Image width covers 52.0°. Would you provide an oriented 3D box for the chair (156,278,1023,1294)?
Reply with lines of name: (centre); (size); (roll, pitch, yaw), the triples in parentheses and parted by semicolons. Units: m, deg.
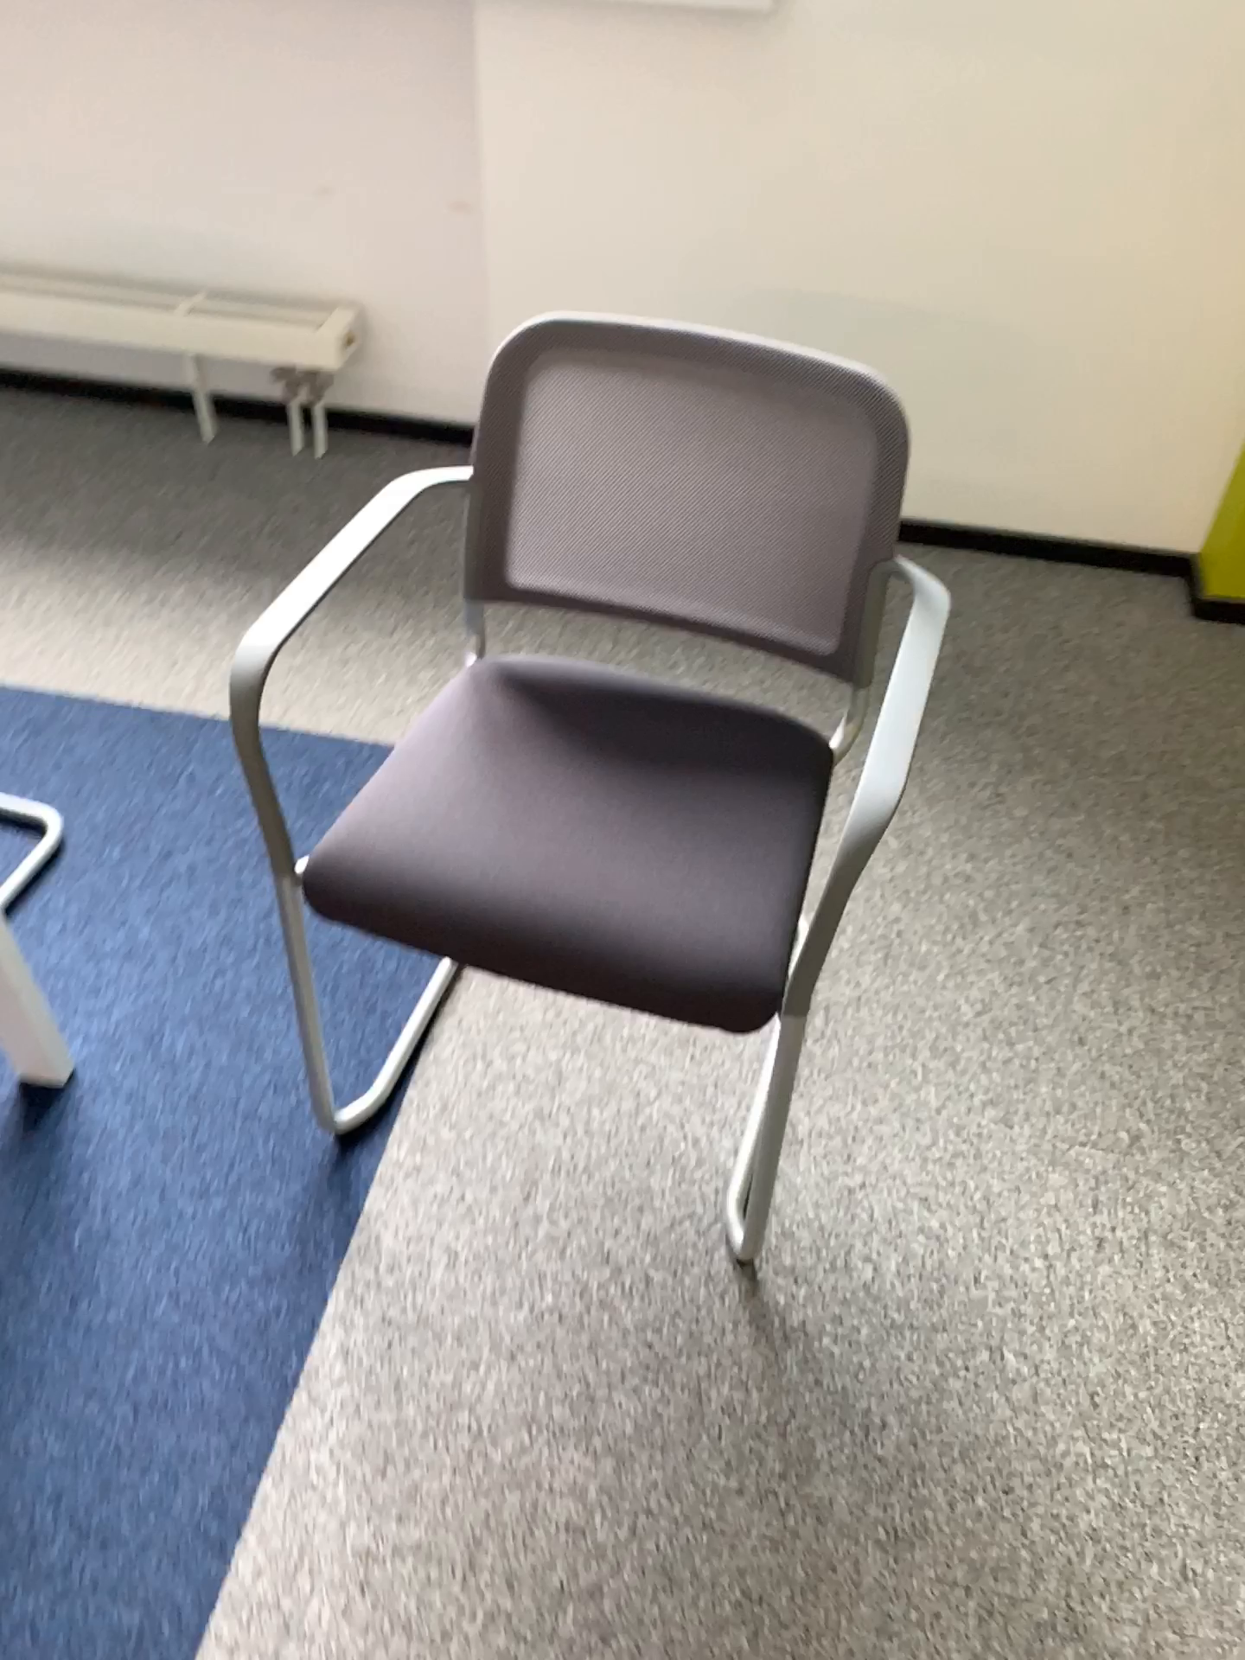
chair: (0.001, -0.034, 1.254); (0.530, 0.726, 0.523); (15, 46, 12)
